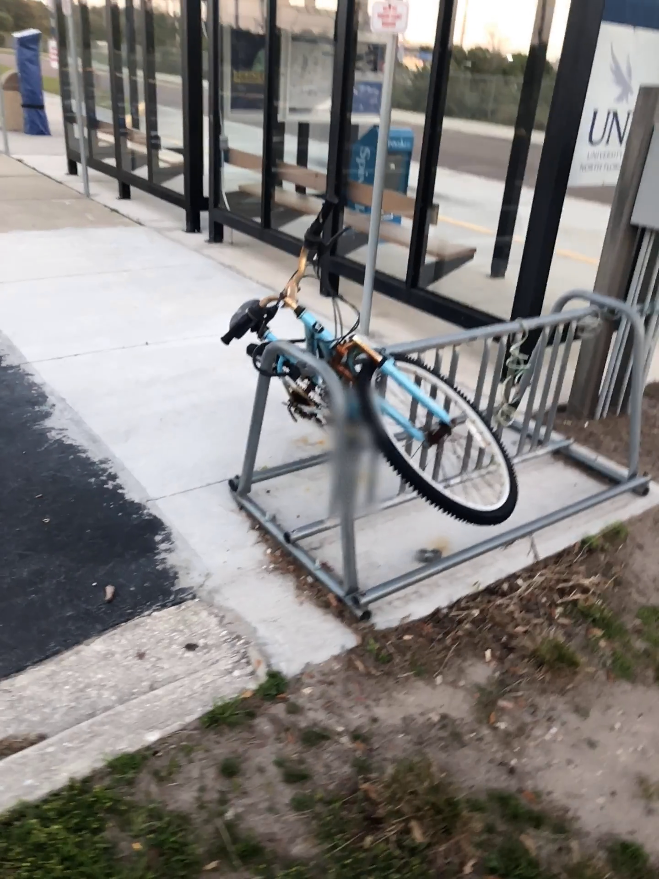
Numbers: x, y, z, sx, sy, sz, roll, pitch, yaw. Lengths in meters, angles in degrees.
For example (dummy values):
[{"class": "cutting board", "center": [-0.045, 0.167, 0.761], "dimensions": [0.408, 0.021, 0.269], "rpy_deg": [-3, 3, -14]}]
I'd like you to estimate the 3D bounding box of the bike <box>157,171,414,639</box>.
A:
[{"class": "bike", "center": [-0.192, -0.177, 2.174], "dimensions": [0.548, 1.128, 0.942], "rpy_deg": [-1, 26, -12]}]
